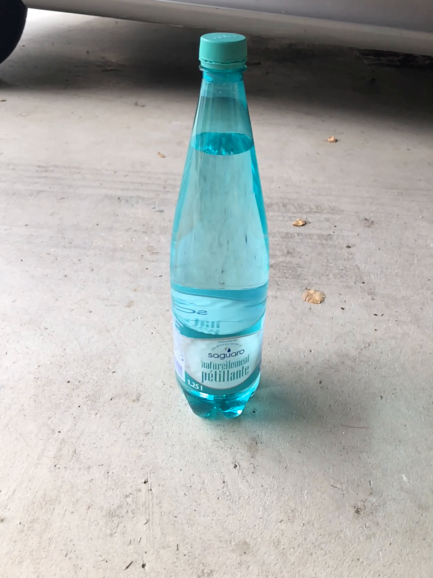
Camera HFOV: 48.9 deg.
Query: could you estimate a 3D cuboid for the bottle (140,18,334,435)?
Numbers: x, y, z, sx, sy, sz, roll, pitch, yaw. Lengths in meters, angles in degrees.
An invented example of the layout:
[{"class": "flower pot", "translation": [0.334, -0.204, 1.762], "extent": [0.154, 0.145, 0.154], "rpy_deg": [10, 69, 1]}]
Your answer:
[{"class": "bottle", "translation": [0.001, -0.024, 0.376], "extent": [0.100, 0.318, 0.090], "rpy_deg": [-3, 38, -7]}]
